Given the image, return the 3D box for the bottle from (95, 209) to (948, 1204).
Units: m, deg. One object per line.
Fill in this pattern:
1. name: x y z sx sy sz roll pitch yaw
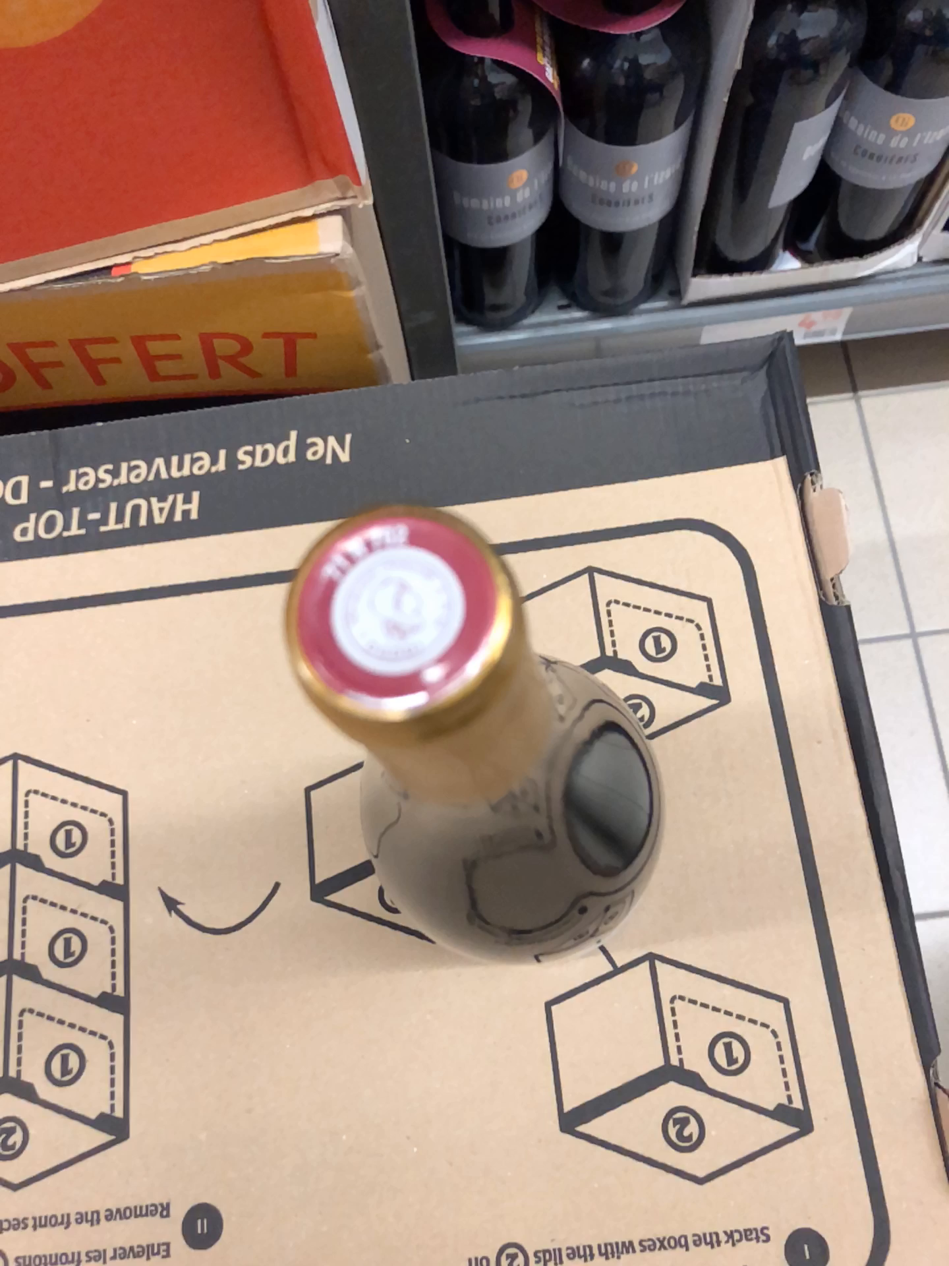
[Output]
1. bottle: 0.013 0.042 0.251 0.080 0.300 0.090 -11 74 0
